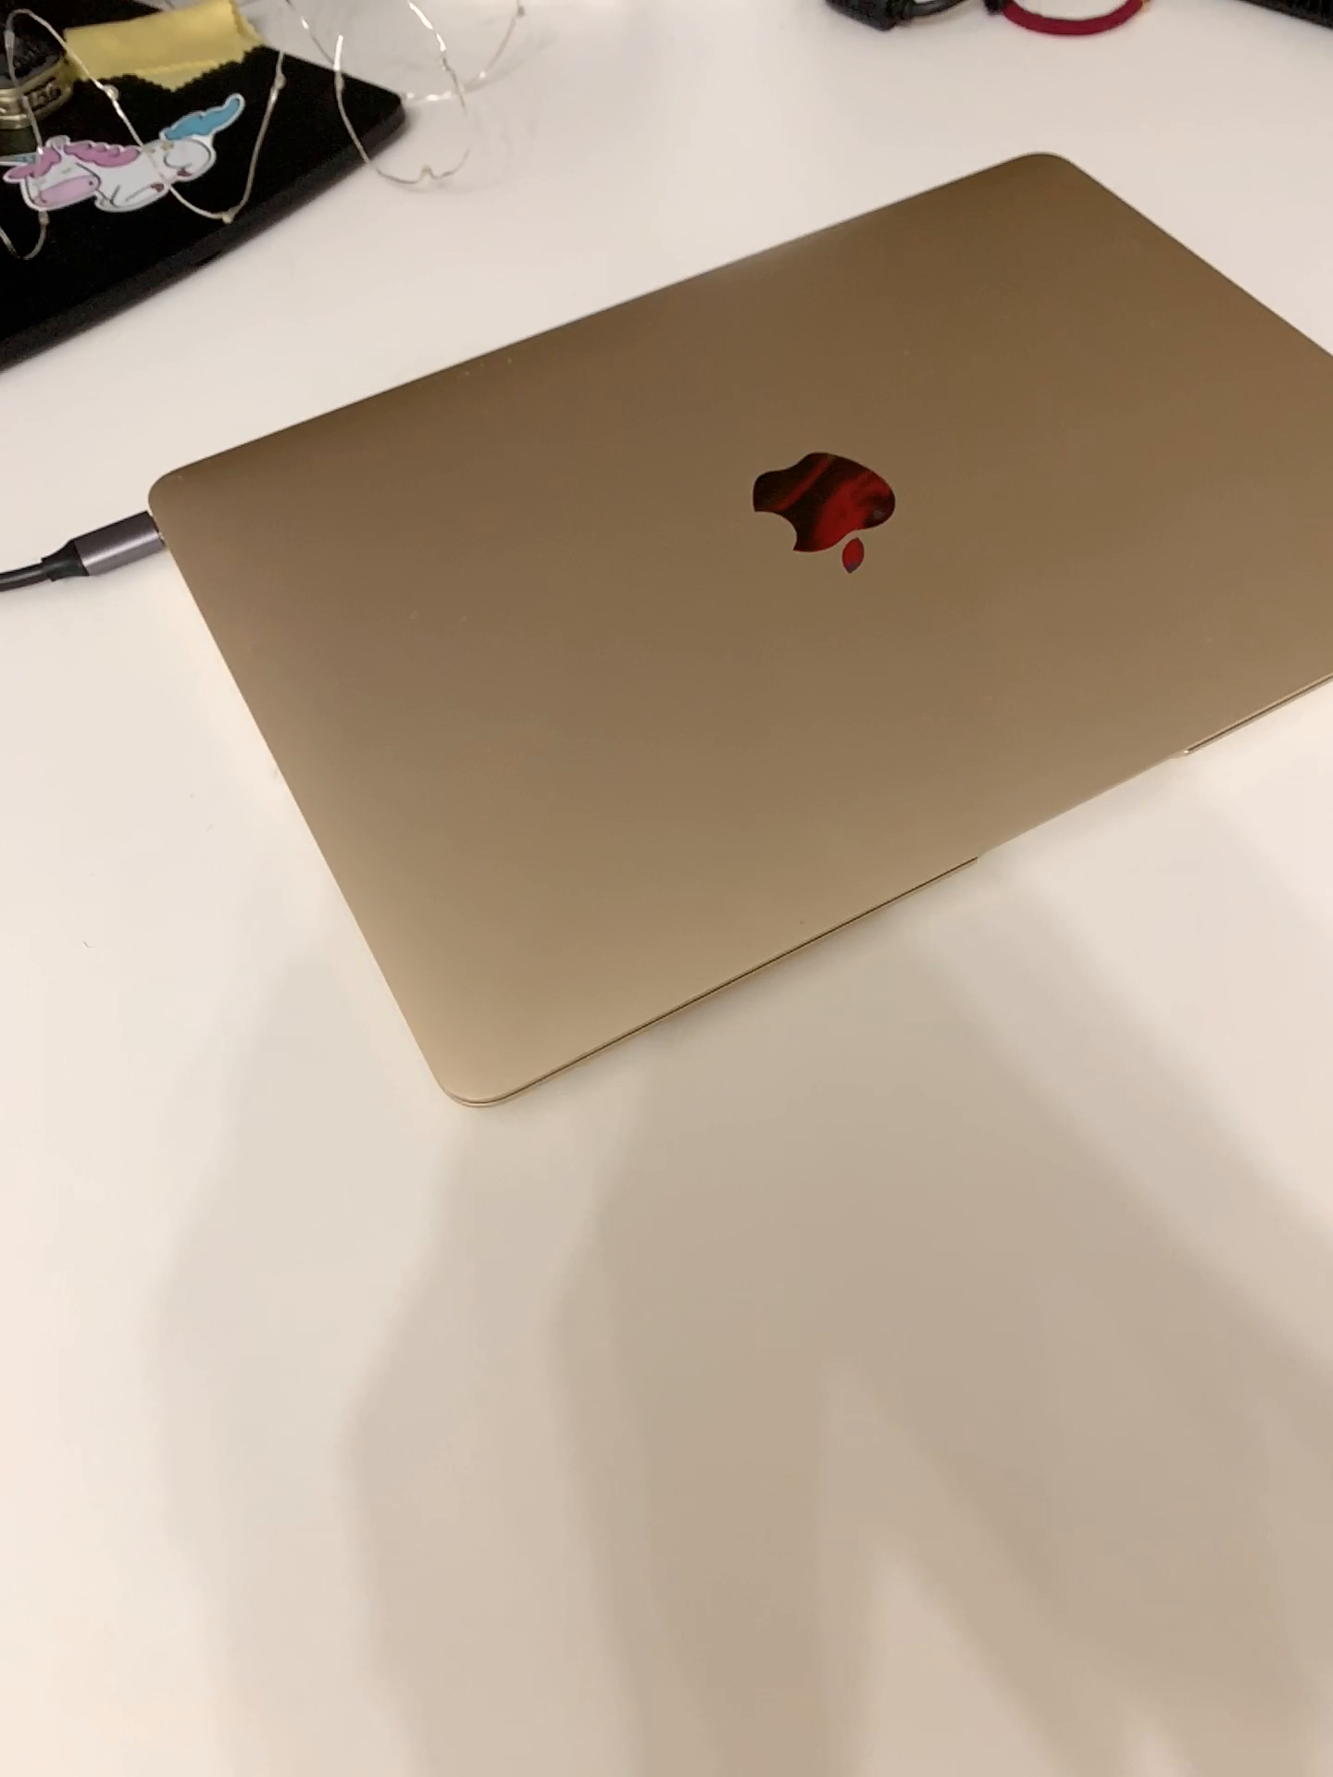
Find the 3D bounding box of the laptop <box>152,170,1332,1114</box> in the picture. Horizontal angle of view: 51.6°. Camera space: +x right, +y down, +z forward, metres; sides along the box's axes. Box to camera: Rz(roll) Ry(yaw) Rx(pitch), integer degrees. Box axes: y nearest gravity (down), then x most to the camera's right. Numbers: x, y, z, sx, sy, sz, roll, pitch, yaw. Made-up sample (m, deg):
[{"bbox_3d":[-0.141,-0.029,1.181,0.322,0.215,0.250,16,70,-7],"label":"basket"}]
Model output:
[{"bbox_3d":[0.034,-0.080,0.313,0.255,0.009,0.175,-26,60,-14],"label":"laptop"}]
